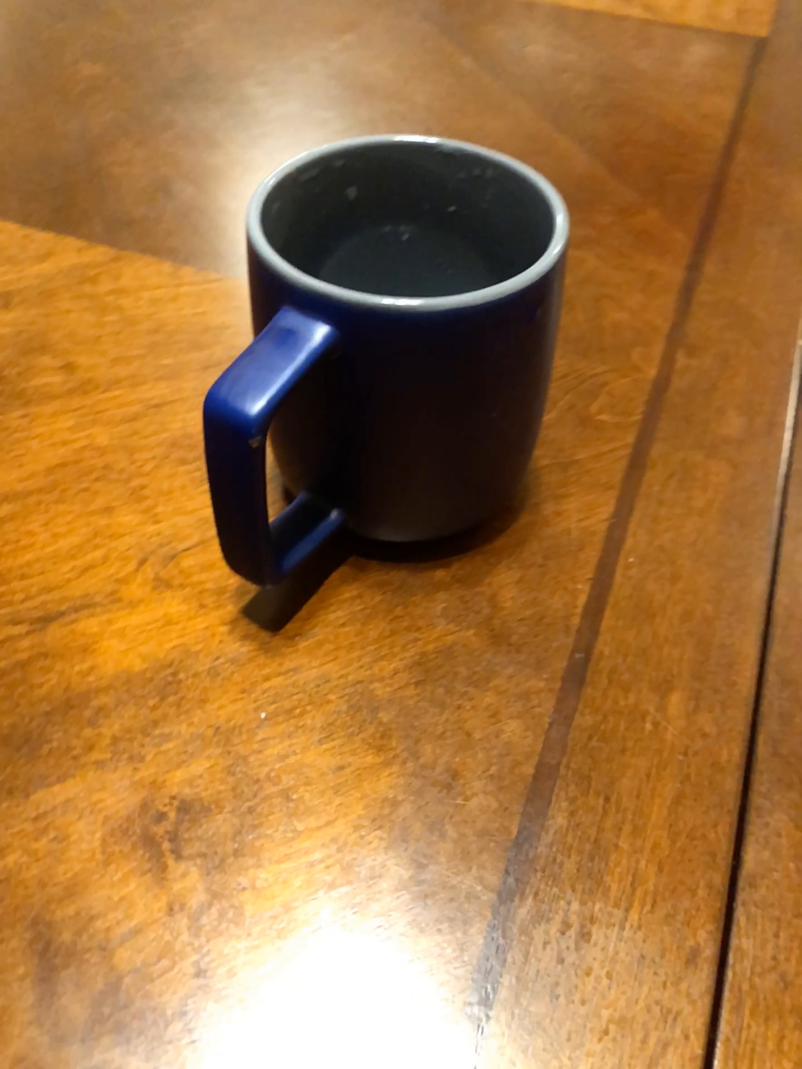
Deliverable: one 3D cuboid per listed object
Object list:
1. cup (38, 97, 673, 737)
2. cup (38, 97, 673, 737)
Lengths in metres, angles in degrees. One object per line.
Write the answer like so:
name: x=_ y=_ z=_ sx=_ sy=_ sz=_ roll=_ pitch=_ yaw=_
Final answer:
cup: x=-0.005 y=-0.042 z=0.265 sx=0.100 sy=0.099 sz=0.141 roll=27 pitch=54 yaw=20
cup: x=-0.005 y=-0.042 z=0.265 sx=0.100 sy=0.099 sz=0.141 roll=27 pitch=54 yaw=20
